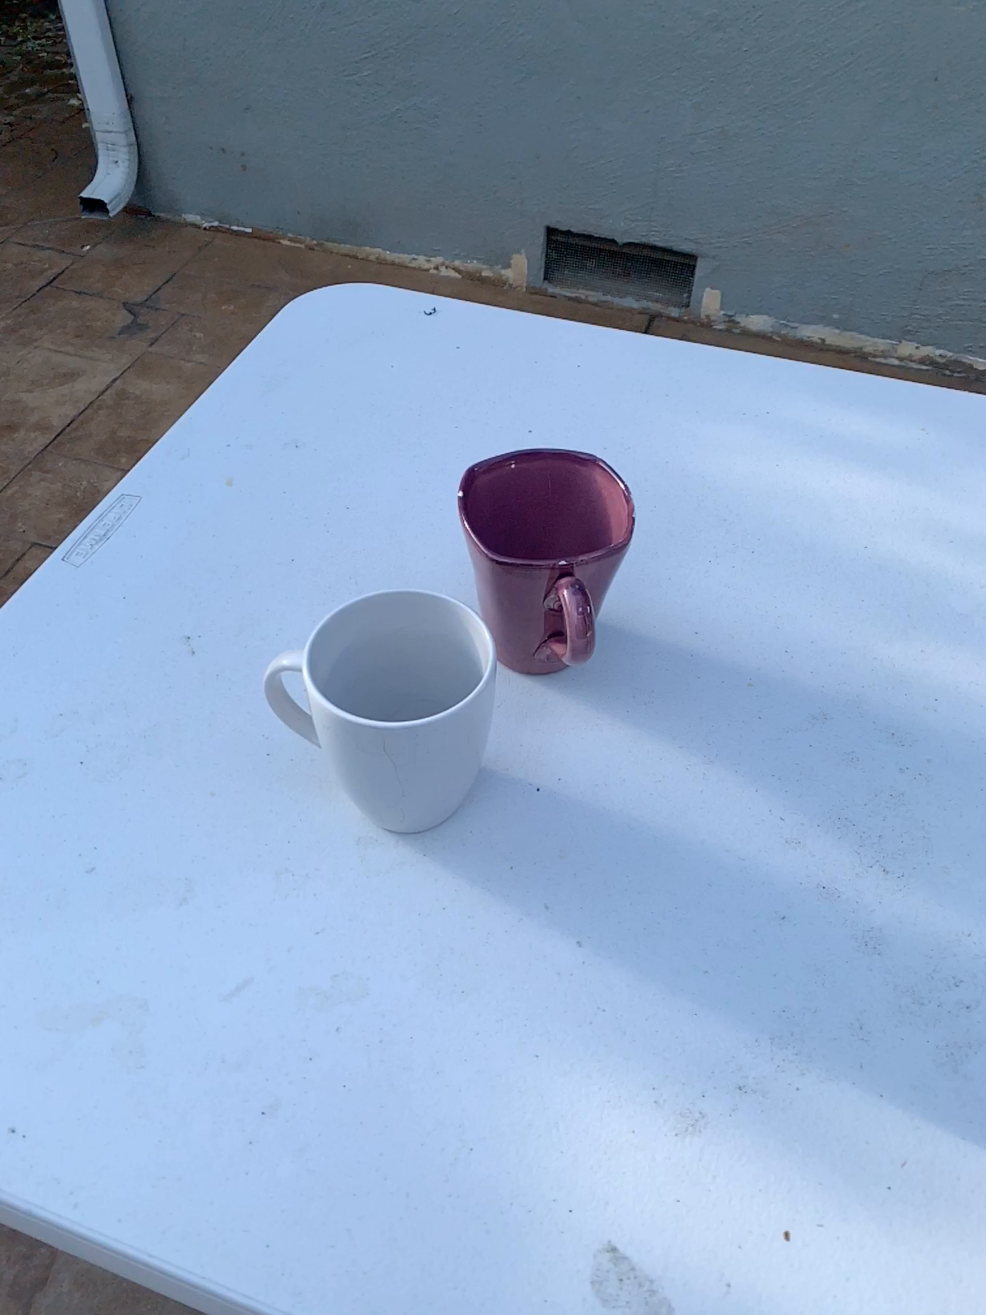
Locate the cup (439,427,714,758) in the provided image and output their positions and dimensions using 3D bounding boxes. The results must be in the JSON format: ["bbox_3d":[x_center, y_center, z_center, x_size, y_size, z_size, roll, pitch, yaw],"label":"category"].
[{"bbox_3d":[0.040,-0.041,0.587,0.110,0.109,0.141,-11,48,-11],"label":"cup"}]

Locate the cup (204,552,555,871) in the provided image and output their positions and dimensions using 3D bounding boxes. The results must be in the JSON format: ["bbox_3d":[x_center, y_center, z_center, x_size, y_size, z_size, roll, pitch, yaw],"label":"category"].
[{"bbox_3d":[-0.055,0.027,0.537,0.150,0.099,0.090,16,49,13],"label":"cup"}]
